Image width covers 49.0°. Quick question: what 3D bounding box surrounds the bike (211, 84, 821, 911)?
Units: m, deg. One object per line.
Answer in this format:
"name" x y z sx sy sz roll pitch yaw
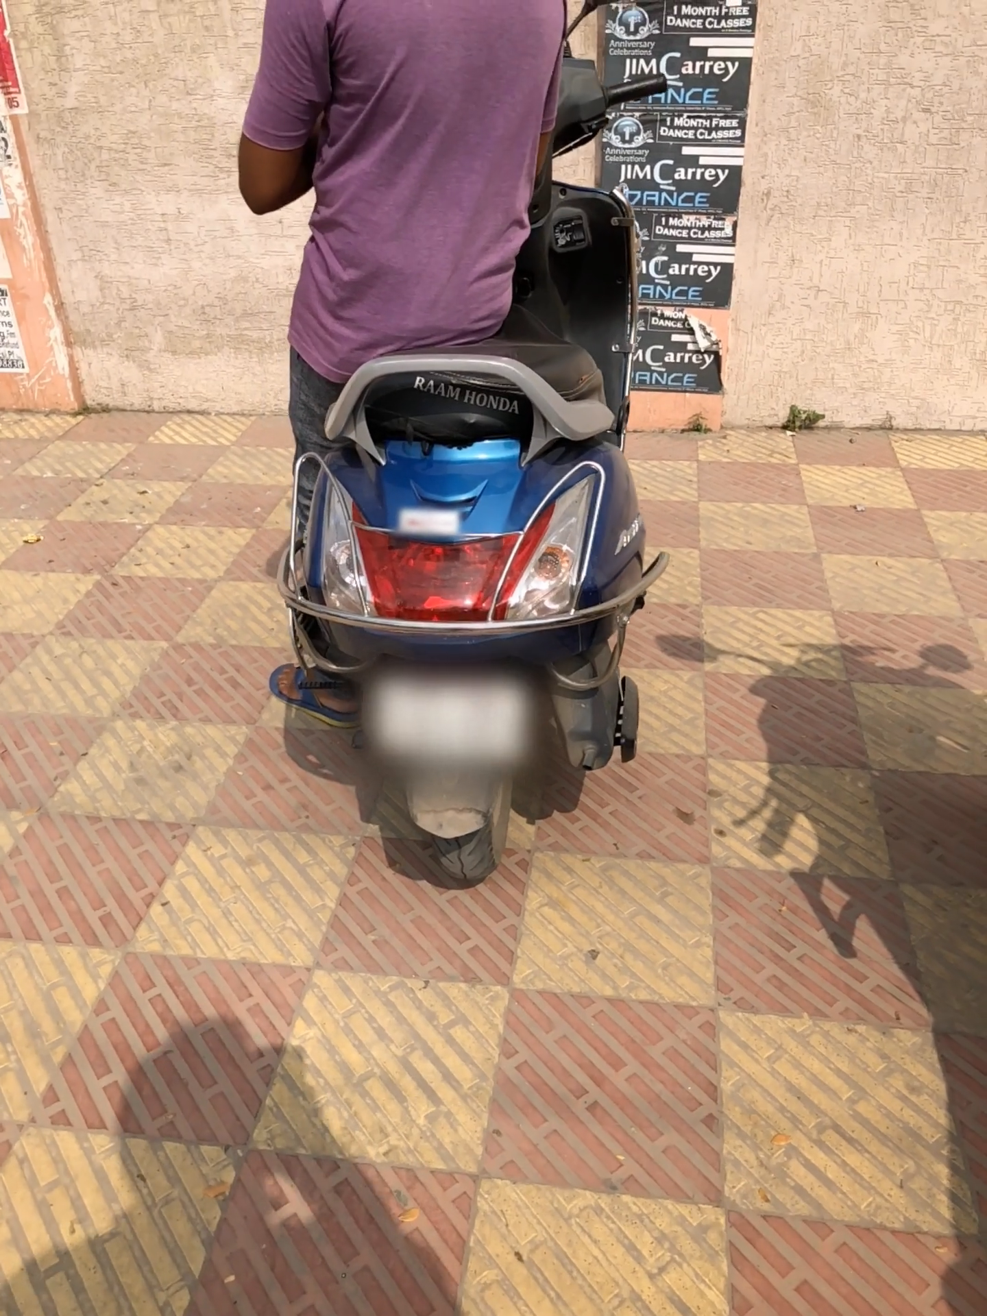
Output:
"bike" 0.072 -0.490 2.115 0.622 1.037 1.712 0 30 3
